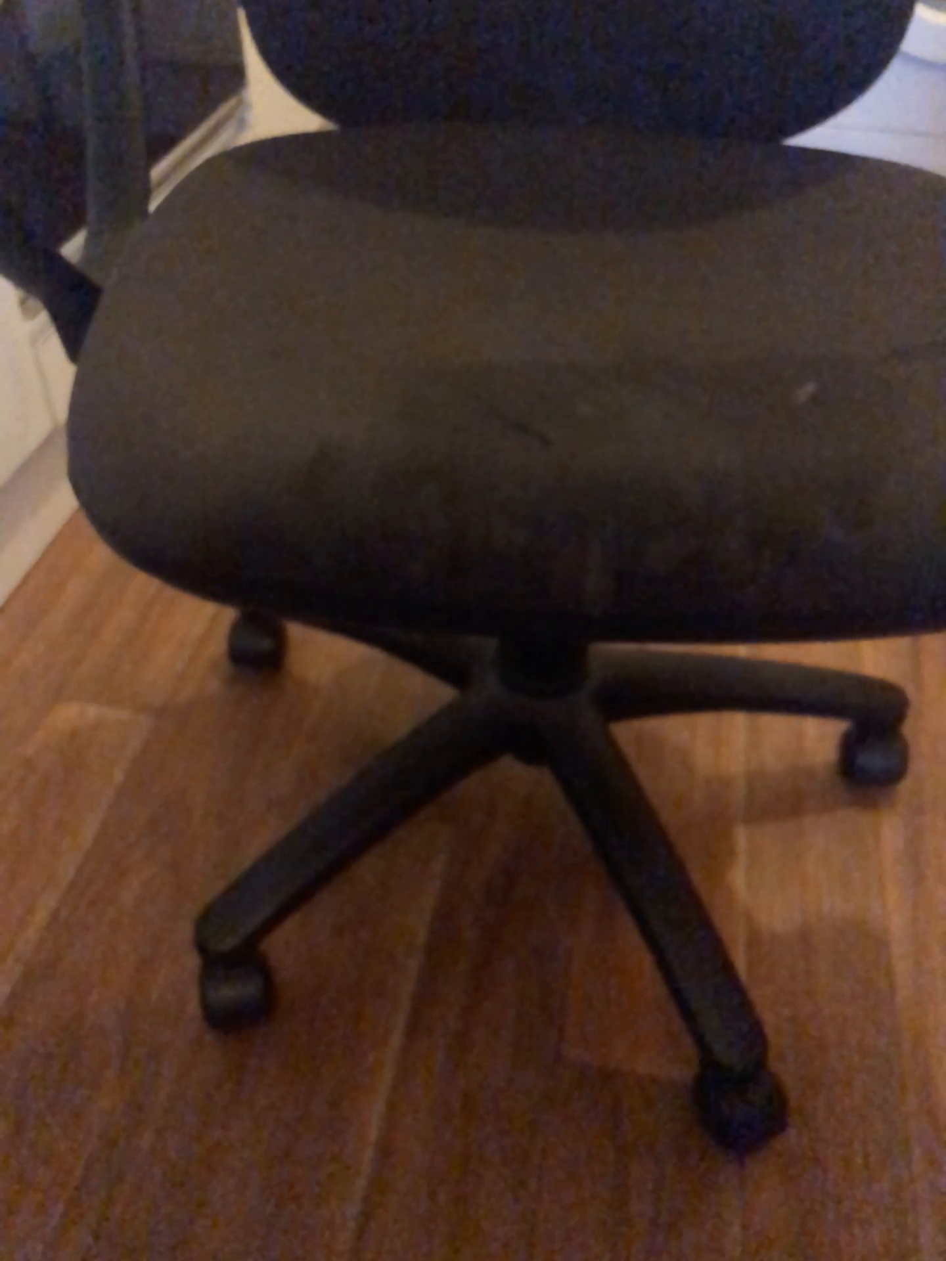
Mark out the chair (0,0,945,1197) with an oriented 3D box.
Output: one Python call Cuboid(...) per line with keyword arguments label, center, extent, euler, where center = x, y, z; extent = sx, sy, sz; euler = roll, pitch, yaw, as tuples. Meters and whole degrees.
Cuboid(label="chair", center=(0.066, -0.261, 0.701), extent=(0.685, 0.756, 0.879), euler=(3, 43, 2))
